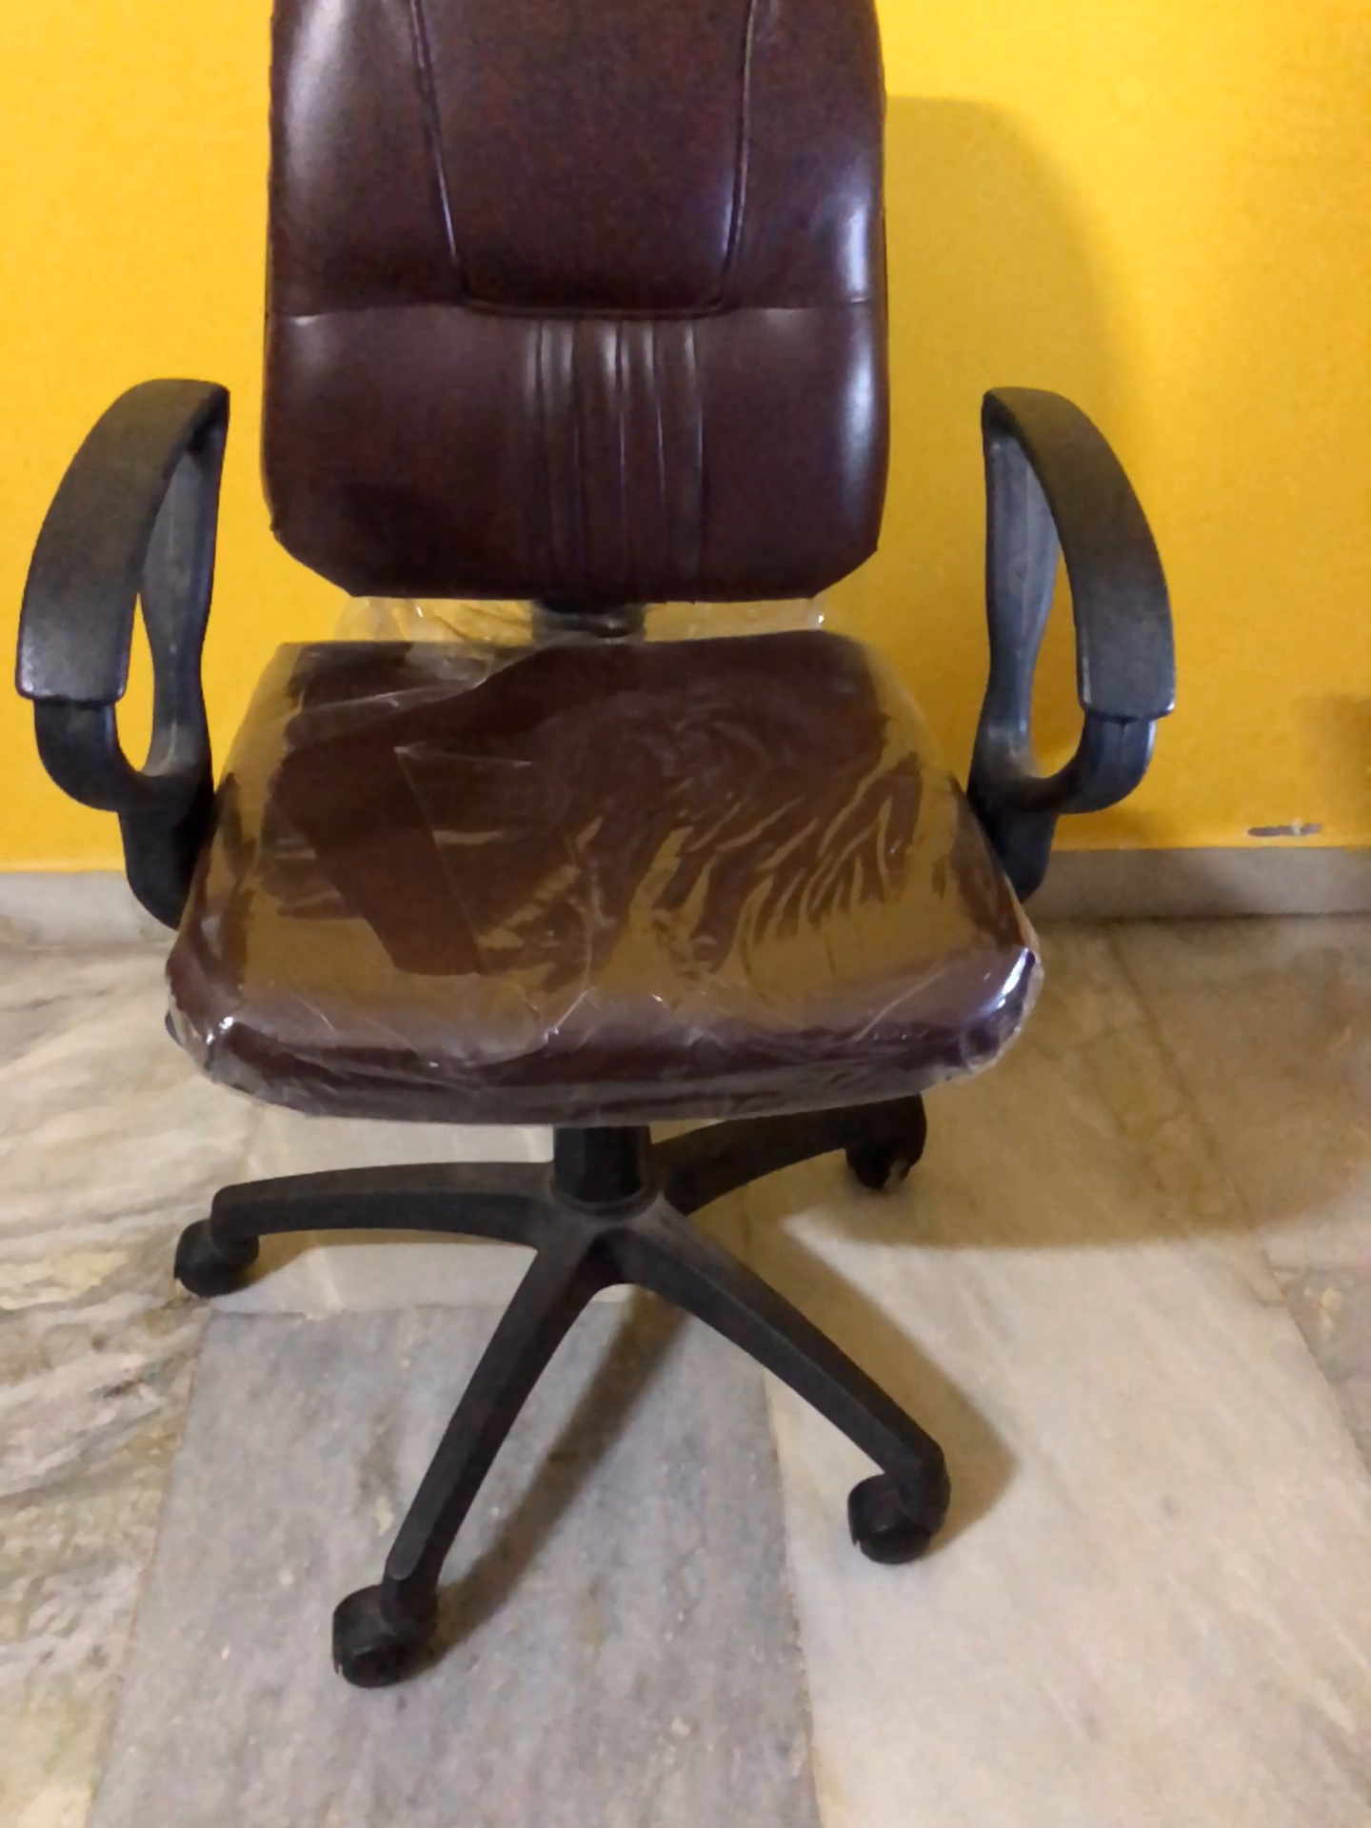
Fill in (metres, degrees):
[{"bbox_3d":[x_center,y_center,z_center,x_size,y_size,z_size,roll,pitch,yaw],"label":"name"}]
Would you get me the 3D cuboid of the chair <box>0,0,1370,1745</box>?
[{"bbox_3d":[-0.060,-0.115,0.948,0.690,0.973,0.685,-4,36,-7],"label":"chair"}]
